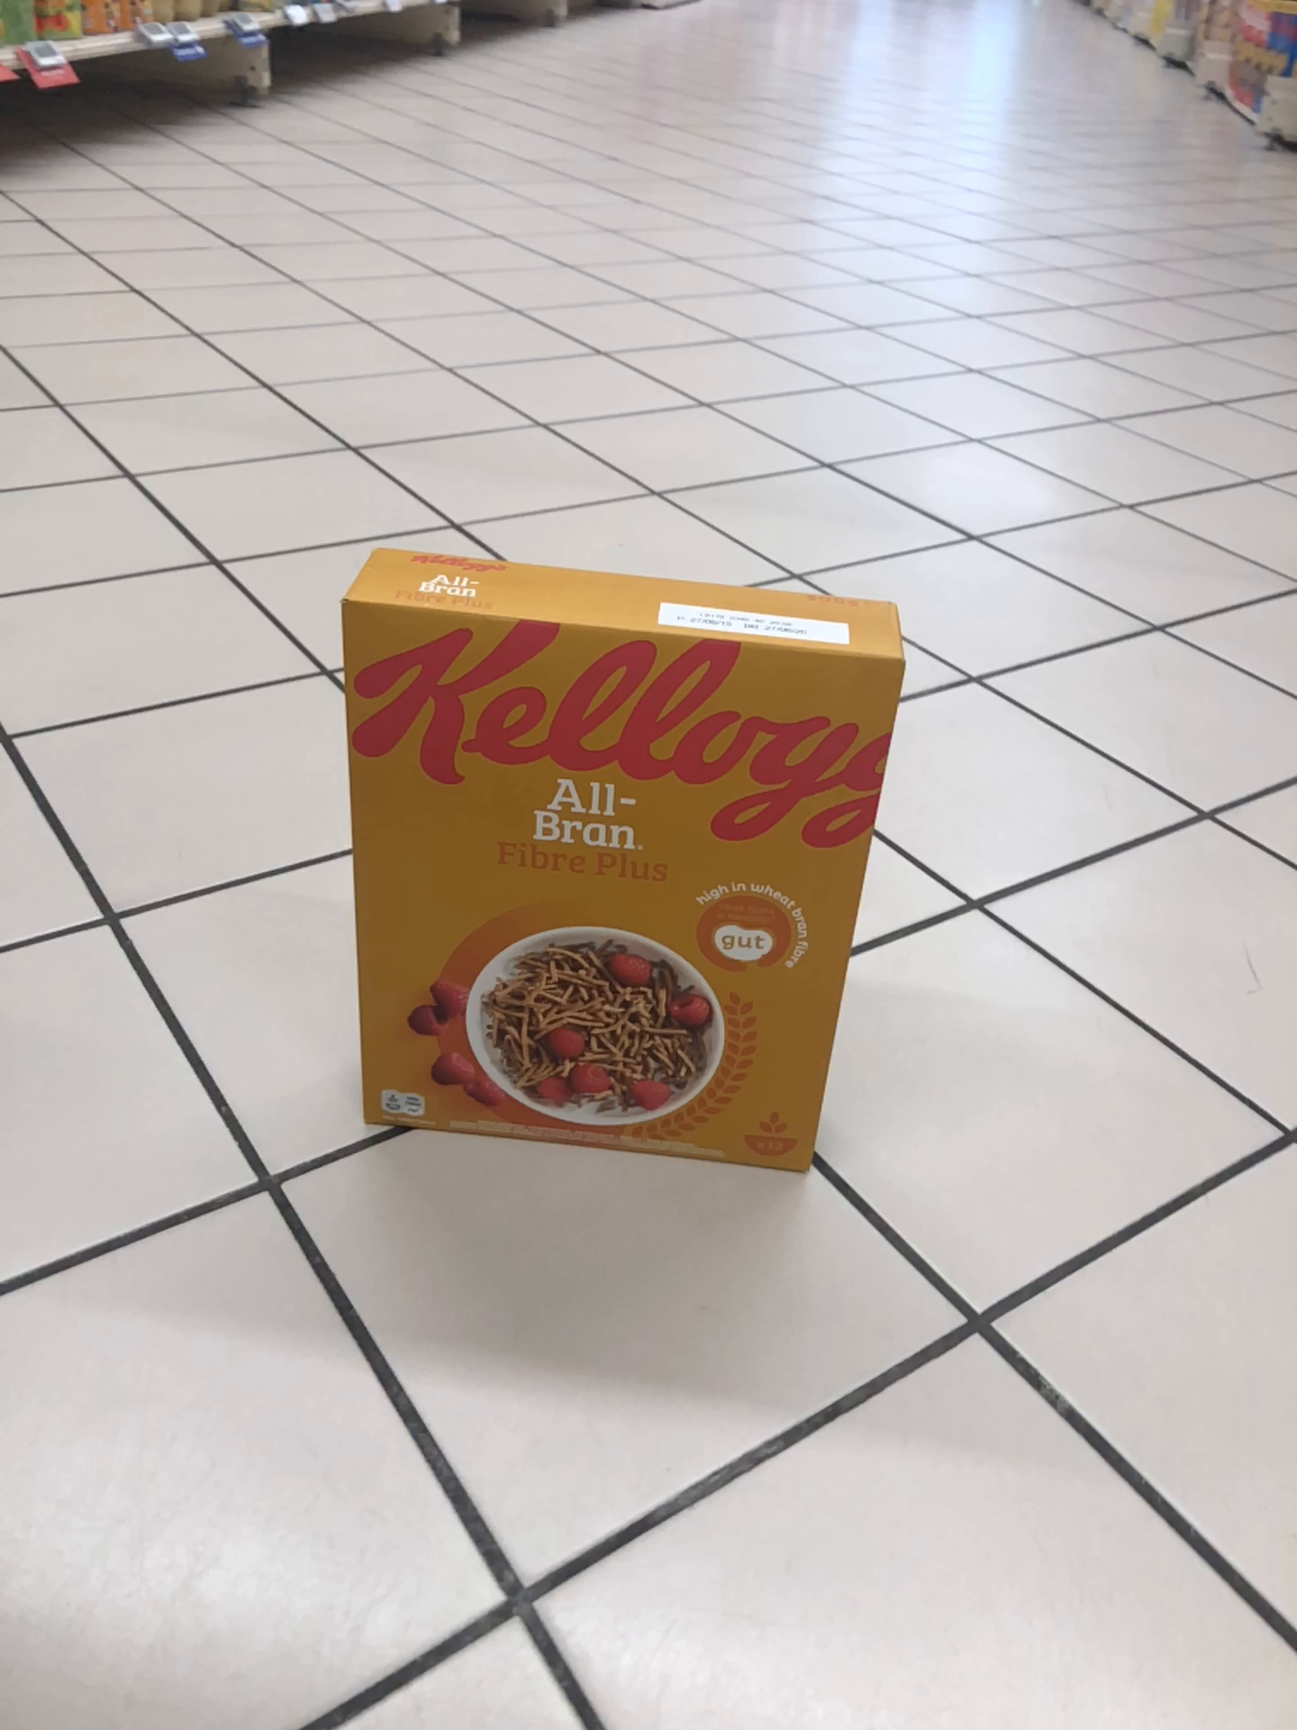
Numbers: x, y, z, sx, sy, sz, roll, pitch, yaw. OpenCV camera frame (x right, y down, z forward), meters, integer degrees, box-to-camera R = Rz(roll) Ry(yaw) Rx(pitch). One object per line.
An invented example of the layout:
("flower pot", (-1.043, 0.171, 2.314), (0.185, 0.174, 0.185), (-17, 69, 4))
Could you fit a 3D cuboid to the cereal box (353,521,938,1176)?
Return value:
("cereal box", (-0.006, 0.002, 0.550), (0.190, 0.239, 0.060), (6, 33, 3))
